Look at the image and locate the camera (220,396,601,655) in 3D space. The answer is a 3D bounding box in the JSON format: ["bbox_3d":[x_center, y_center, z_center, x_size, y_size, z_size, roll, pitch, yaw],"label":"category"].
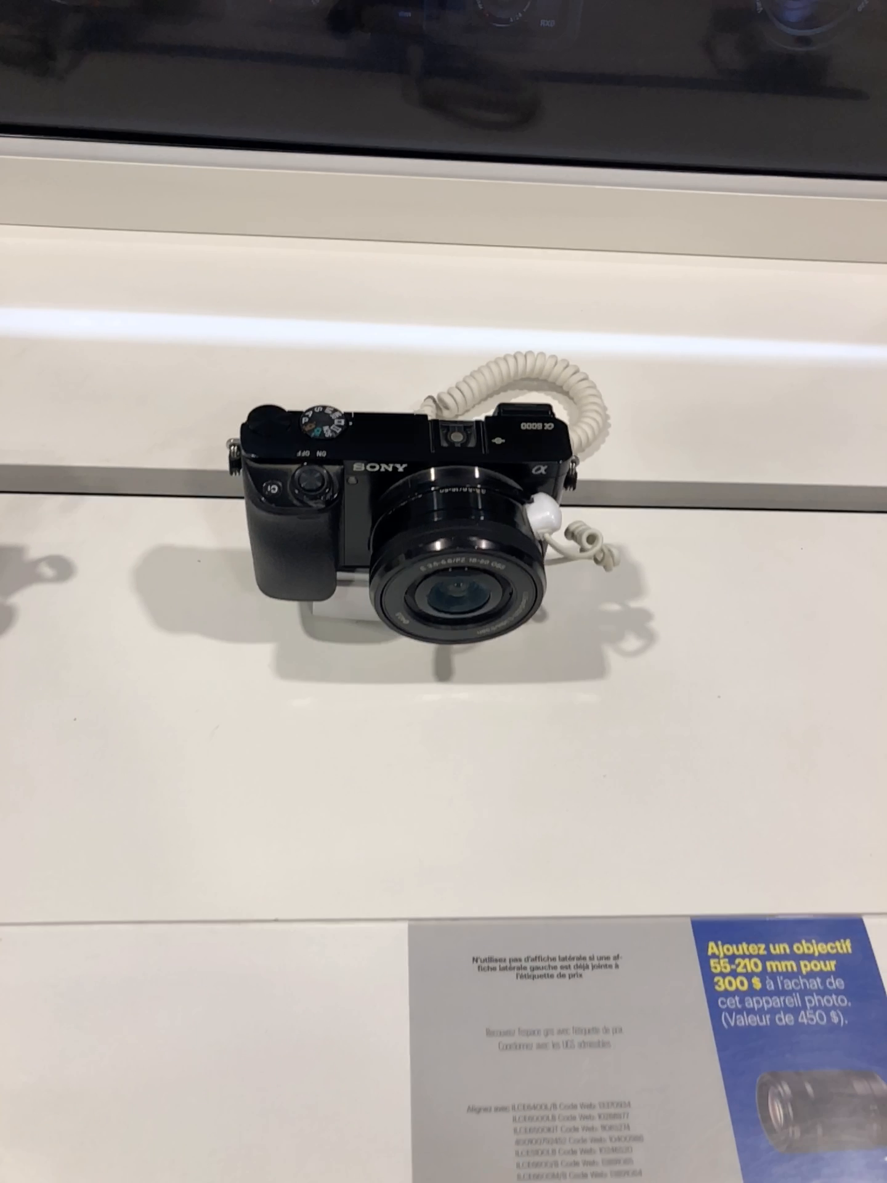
[{"bbox_3d":[-0.014,-0.025,0.384,0.130,0.077,0.065,-1,52,-5],"label":"camera"}]
